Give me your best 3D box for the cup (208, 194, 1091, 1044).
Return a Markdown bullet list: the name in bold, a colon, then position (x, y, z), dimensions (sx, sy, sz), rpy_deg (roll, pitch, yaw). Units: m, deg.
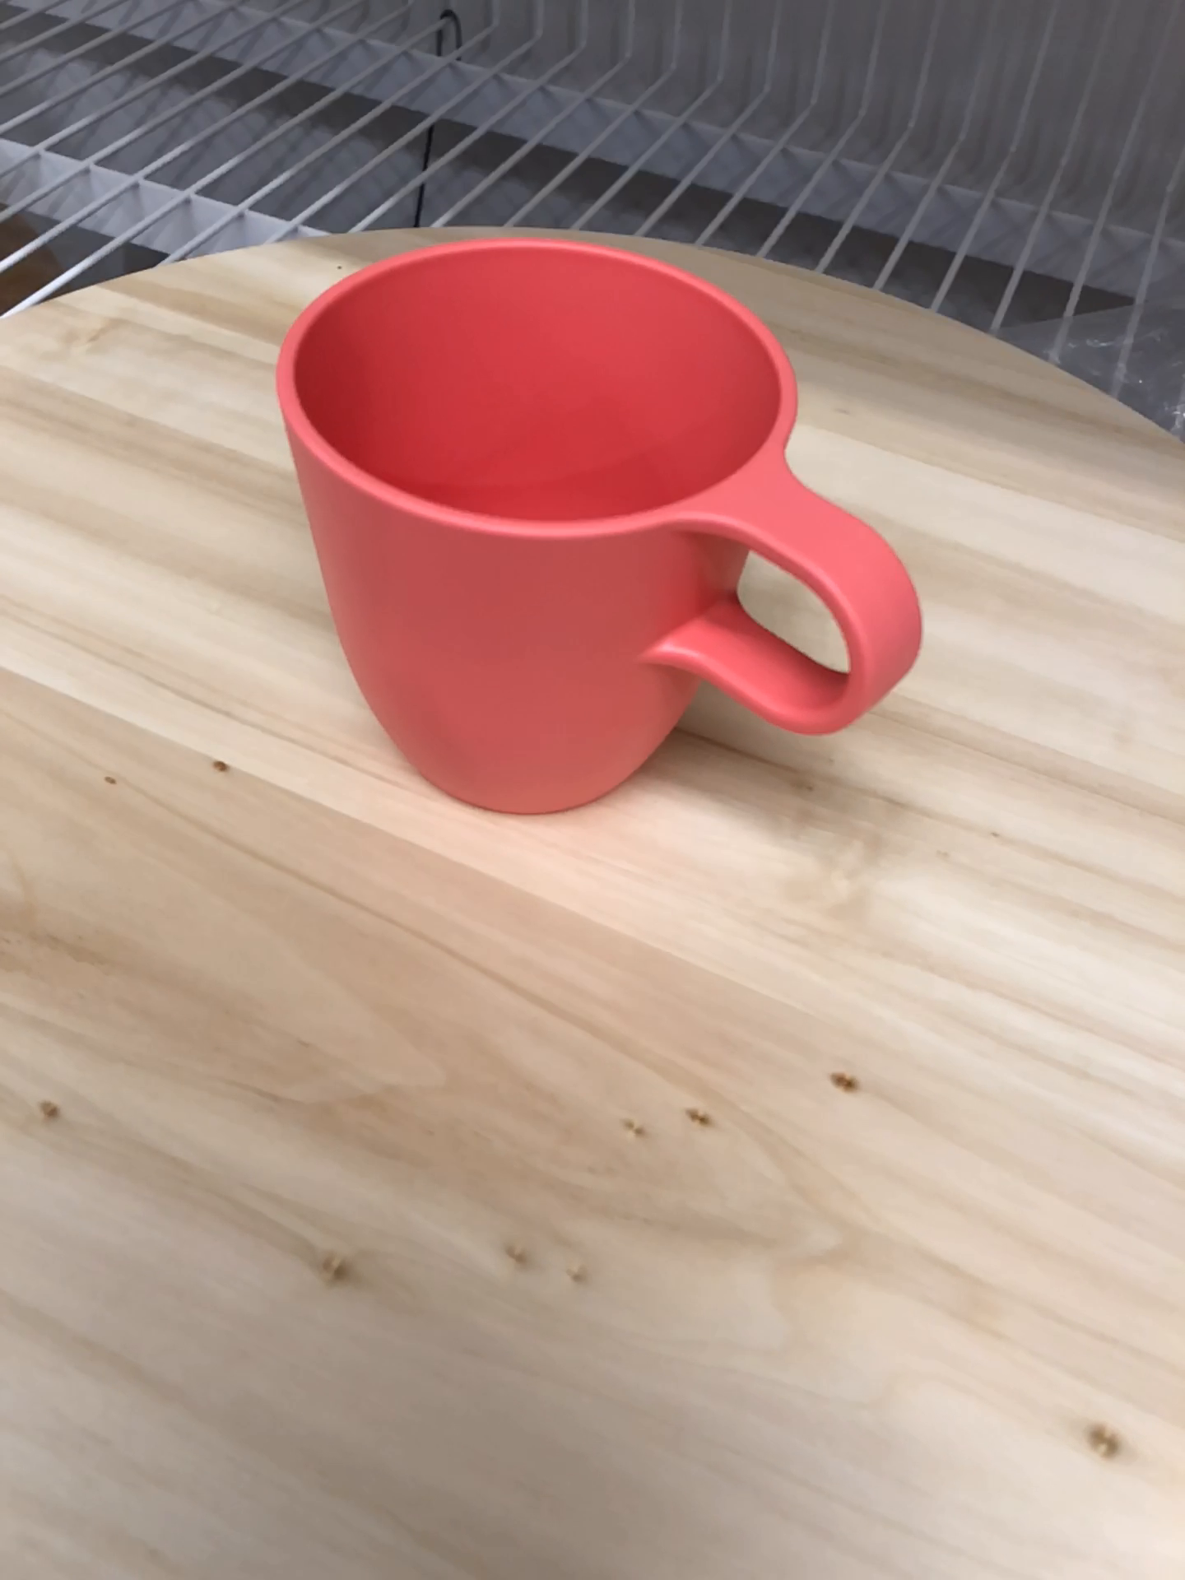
- **cup**: position (0.006, -0.035, 0.231), dimensions (0.110, 0.080, 0.080), rpy_deg (34, 53, 23)
